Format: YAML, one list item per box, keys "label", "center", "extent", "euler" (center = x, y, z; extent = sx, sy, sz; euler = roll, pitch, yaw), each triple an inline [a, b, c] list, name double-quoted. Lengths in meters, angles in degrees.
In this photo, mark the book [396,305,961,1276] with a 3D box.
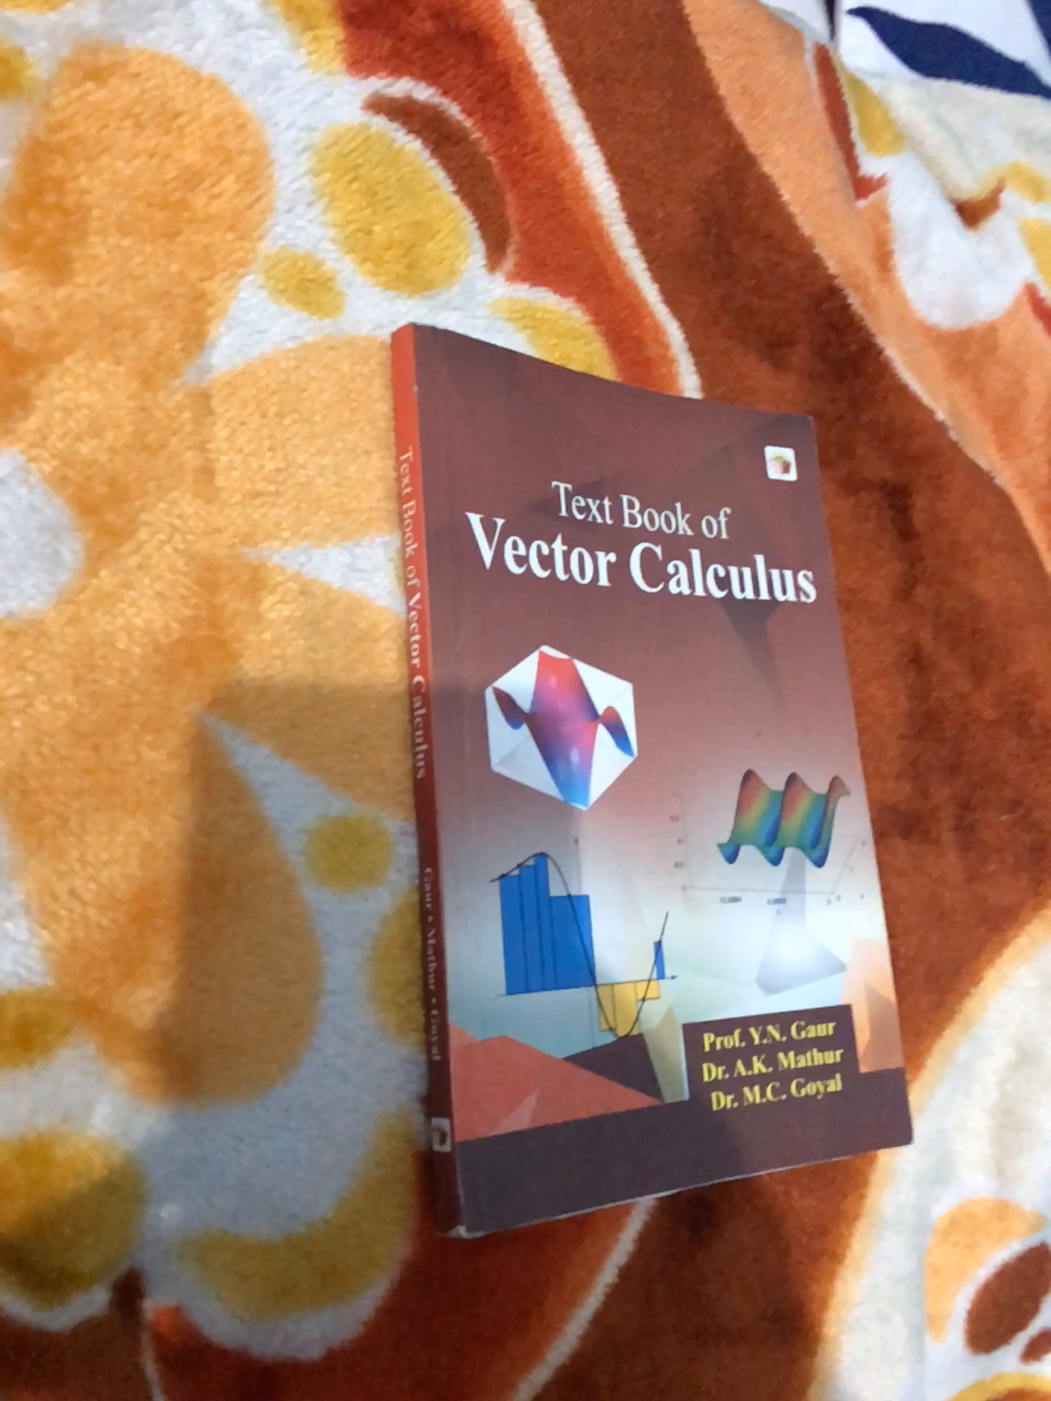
- label: "book"
  center: [0.041, 0.016, 0.296]
  extent: [0.141, 0.020, 0.210]
  euler: [3, 77, -32]
